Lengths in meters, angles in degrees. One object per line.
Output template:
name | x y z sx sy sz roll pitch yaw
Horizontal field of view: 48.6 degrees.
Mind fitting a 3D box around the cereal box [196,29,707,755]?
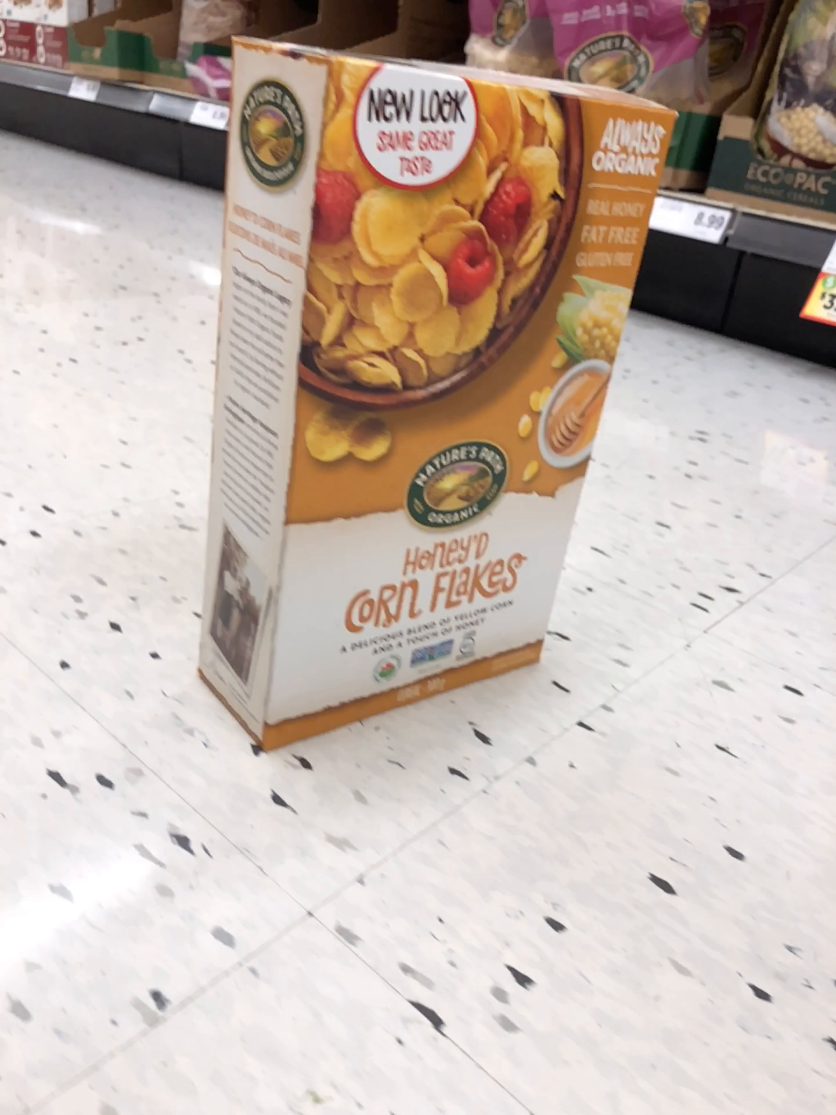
cereal box | 0.005 -0.057 0.363 0.160 0.239 0.060 -12 34 -35
